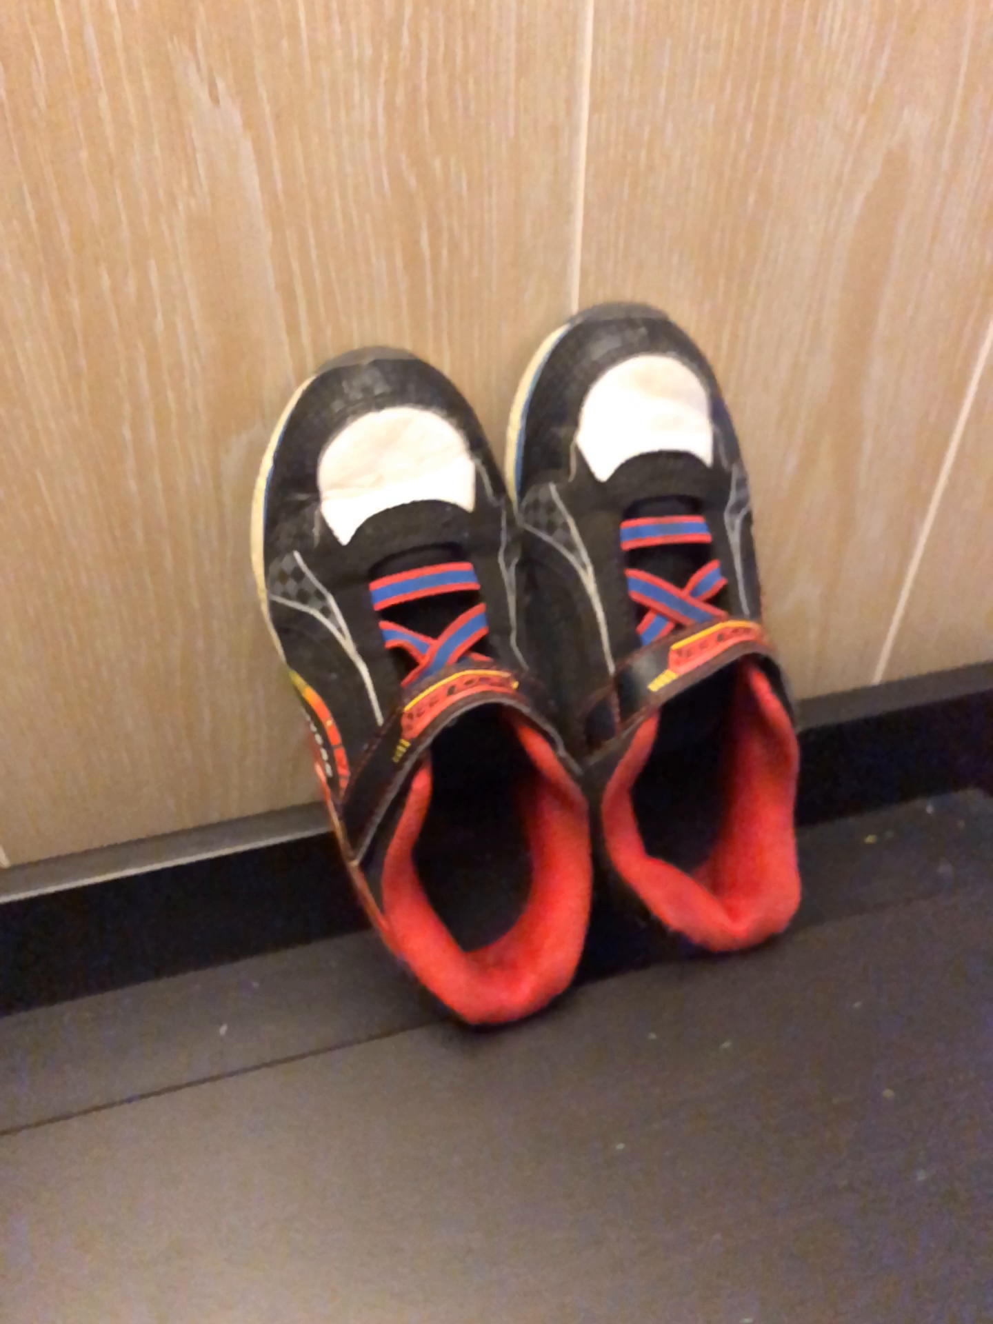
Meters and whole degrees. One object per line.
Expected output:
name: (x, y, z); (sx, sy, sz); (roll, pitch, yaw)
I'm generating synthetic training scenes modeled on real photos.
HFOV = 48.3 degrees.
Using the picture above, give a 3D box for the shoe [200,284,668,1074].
shoe: (-0.022, 0.002, 0.334); (0.090, 0.200, 0.070); (-11, 1, -11)

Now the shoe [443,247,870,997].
shoe: (0.049, -0.014, 0.362); (0.090, 0.210, 0.070); (-10, 5, -10)
